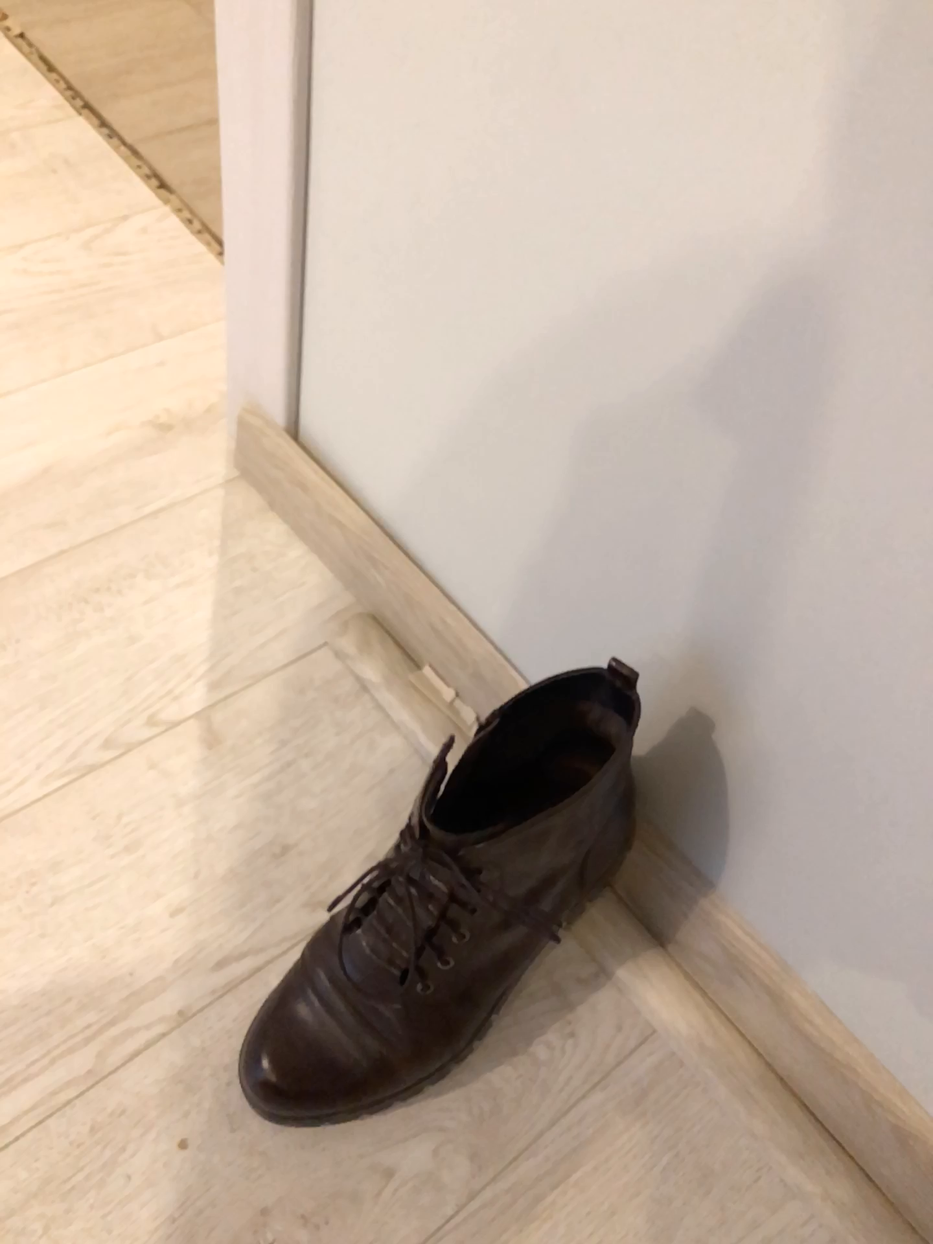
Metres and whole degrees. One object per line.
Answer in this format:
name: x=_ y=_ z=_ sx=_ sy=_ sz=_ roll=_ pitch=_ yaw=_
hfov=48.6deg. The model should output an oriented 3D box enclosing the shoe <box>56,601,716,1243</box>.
shoe: x=-0.019 y=0.143 z=0.489 sx=0.261 sy=0.179 sz=0.100 roll=-40 pitch=67 yaw=-11
